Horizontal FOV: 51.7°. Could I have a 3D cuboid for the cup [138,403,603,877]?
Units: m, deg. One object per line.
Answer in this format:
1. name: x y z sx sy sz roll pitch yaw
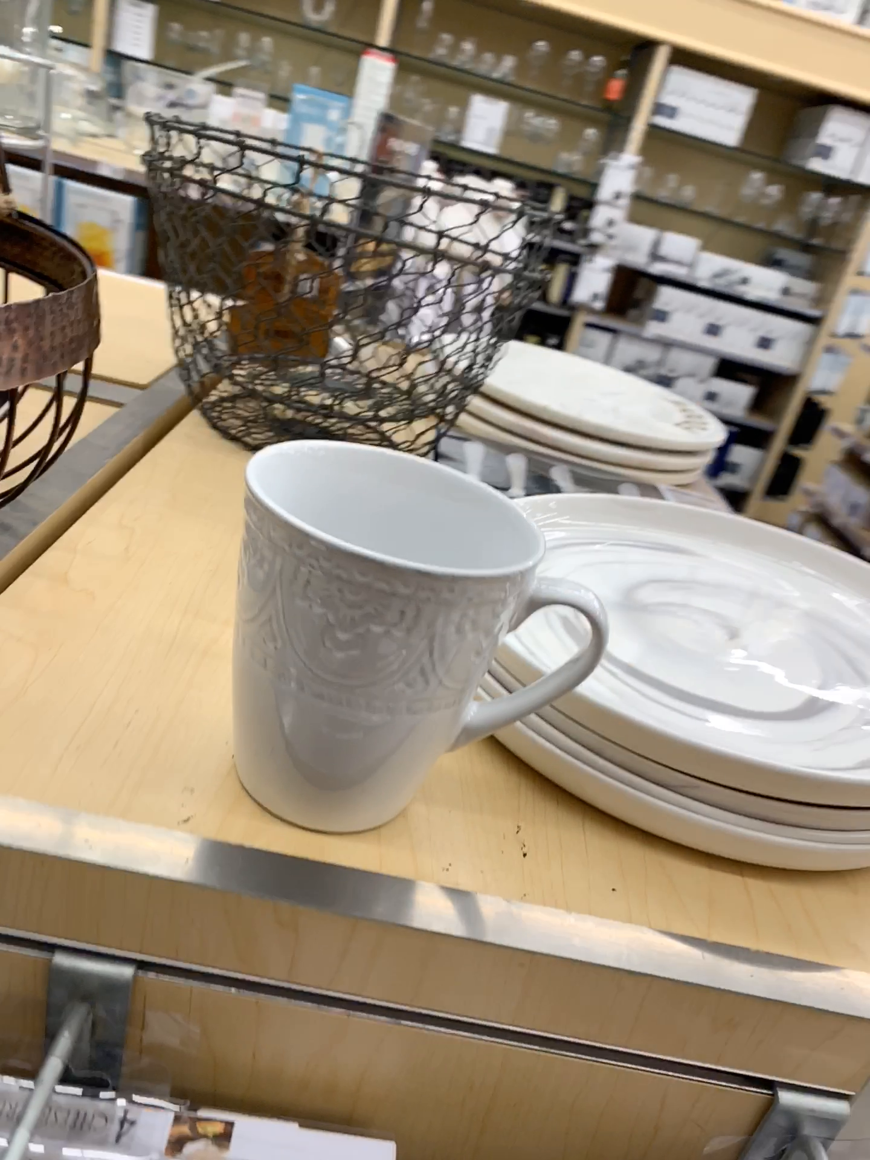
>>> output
1. cup: -0.022 0.016 0.321 0.124 0.107 0.099 14 26 -2
